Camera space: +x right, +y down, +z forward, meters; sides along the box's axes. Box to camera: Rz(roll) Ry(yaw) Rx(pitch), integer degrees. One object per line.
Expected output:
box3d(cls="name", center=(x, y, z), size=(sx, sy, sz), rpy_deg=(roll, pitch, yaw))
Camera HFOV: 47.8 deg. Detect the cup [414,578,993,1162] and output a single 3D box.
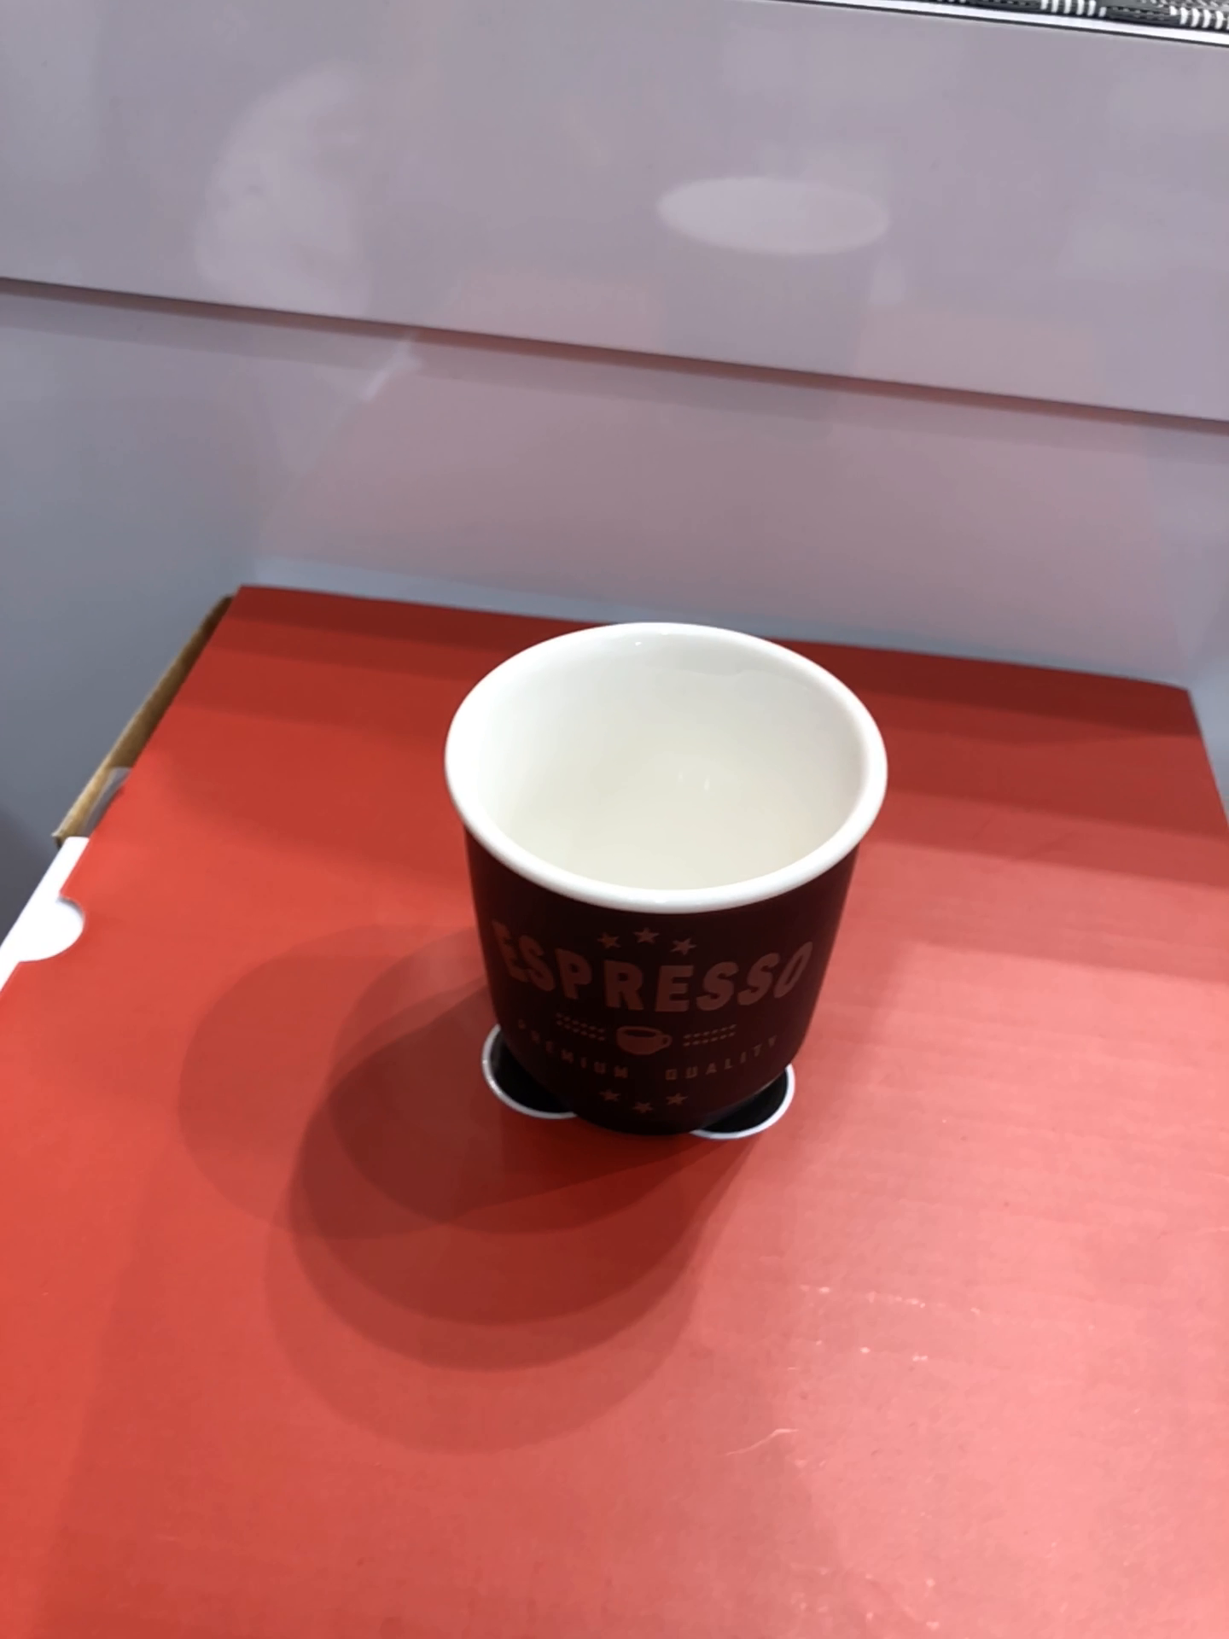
box3d(cls="cup", center=(0.007, 0.006, 0.208), size=(0.070, 0.060, 0.060), rpy_deg=(-2, 42, -7))
